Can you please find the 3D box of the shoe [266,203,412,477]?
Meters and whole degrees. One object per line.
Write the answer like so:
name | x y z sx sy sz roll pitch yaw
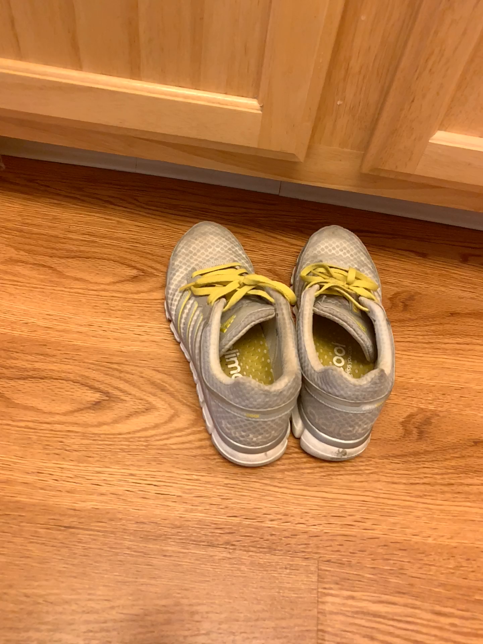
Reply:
shoe | 0.091 0.014 0.482 0.090 0.129 0.221 11 53 0

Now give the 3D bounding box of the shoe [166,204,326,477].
shoe | -0.012 0.013 0.496 0.090 0.129 0.231 -8 56 -13
